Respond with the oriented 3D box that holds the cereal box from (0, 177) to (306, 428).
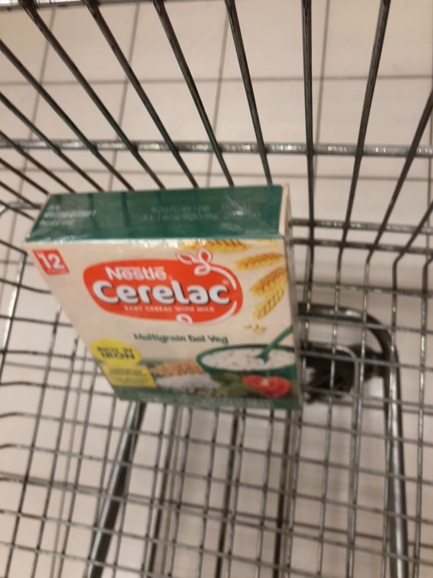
[{"bbox_3d":[-0.023,0.022,0.332,0.160,0.189,0.050,0,47,12],"label":"cereal box"}]
